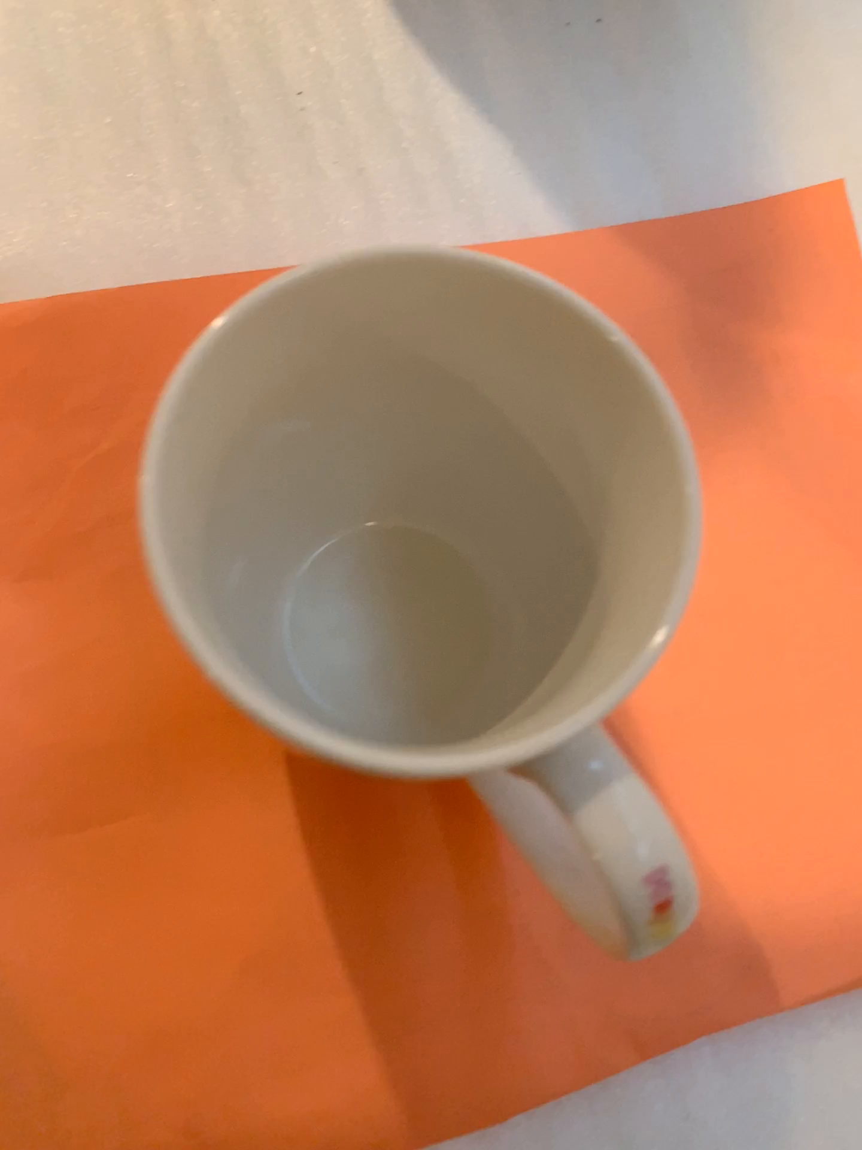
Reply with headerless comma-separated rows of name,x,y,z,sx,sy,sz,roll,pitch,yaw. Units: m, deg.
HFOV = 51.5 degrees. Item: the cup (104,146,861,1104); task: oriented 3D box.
cup,0.013,0.008,0.178,0.090,0.090,0.120,-27,79,-14
